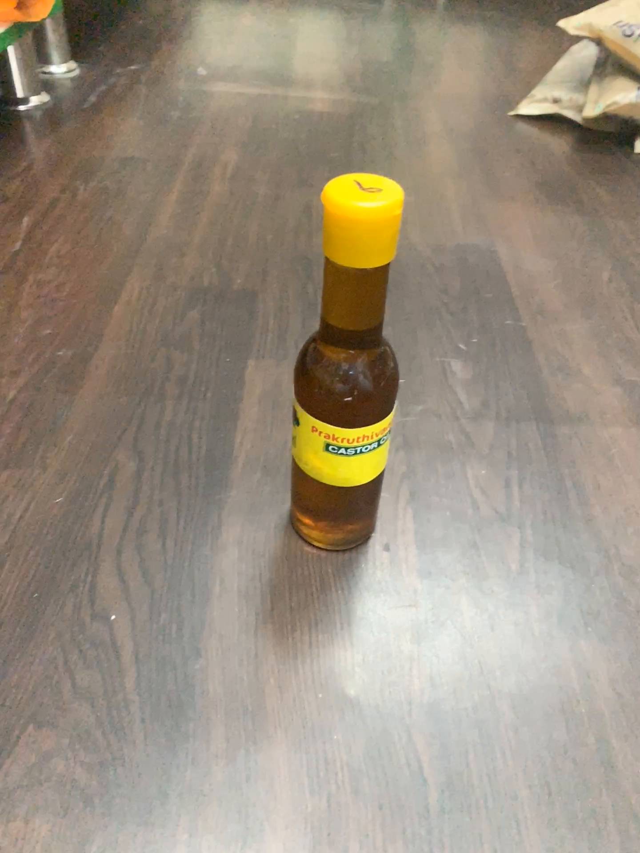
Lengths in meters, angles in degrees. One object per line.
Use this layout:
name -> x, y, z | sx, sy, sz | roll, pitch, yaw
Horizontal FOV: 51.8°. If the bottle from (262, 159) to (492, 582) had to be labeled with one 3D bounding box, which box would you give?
bottle -> 0.013, -0.015, 0.280 | 0.060, 0.169, 0.060 | 2, 42, -2
